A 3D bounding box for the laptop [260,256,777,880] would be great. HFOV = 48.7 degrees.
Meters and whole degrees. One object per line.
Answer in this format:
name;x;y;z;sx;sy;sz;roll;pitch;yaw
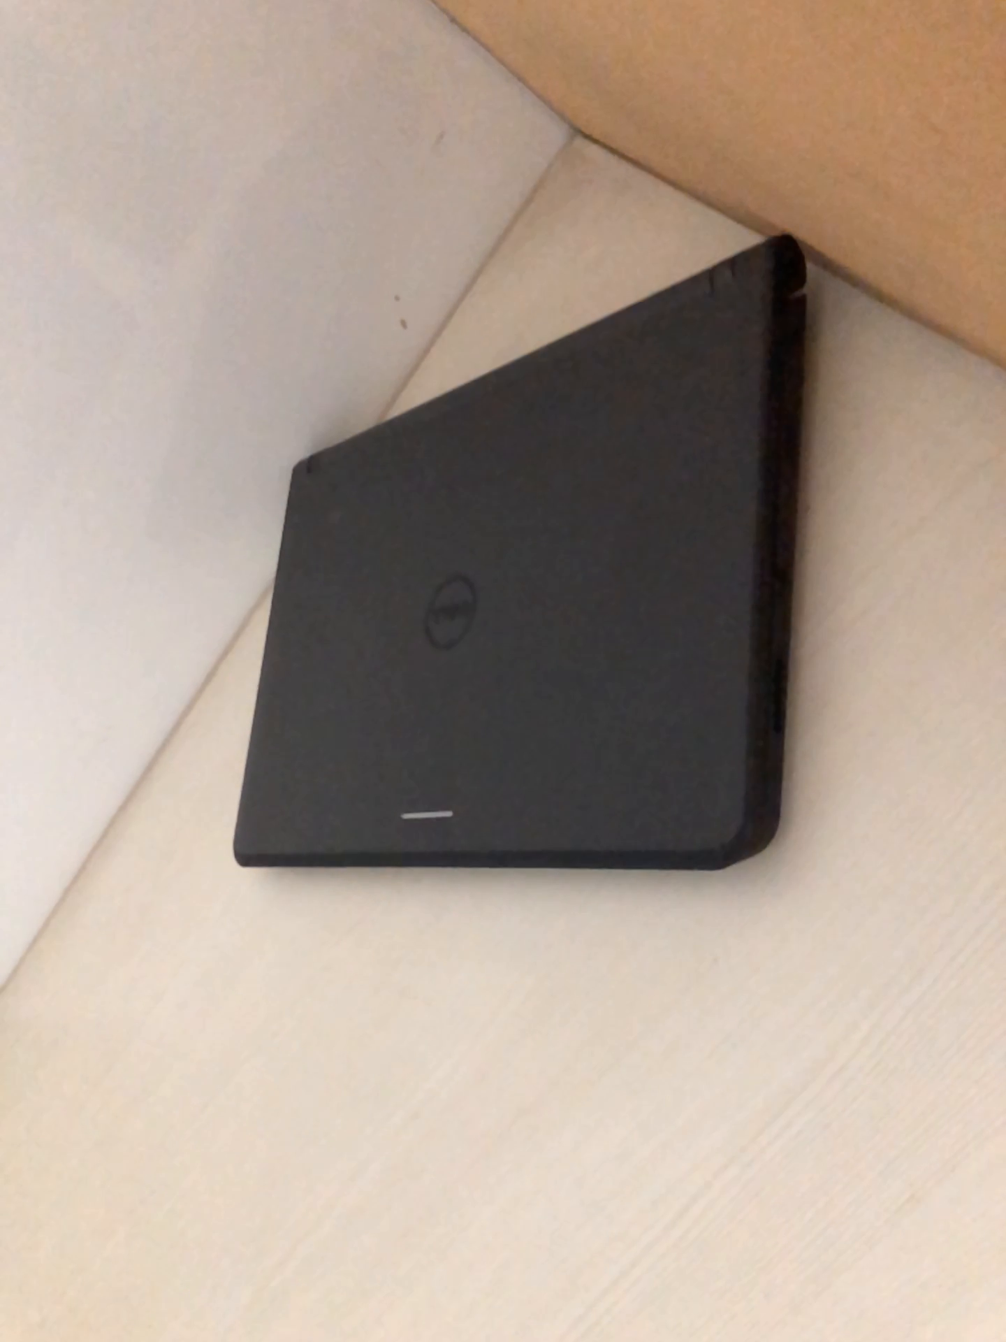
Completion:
laptop;-0.010;-0.029;0.484;0.292;0.007;0.227;-11;65;47
